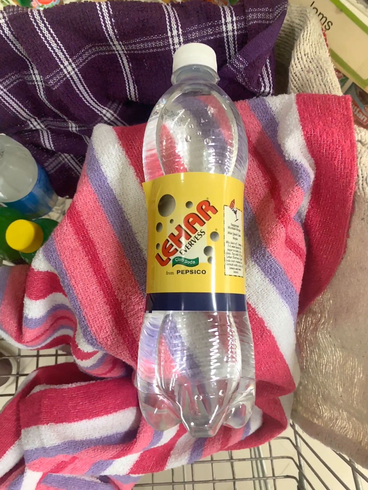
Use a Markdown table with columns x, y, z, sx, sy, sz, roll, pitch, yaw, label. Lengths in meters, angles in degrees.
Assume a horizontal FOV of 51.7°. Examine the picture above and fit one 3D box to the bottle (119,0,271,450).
| x | y | z | sx | sy | sz | roll | pitch | yaw | label |
| --- | --- | --- | --- | --- | --- | --- | --- | --- | --- |
| 0.004 | -0.018 | 0.230 | 0.070 | 0.070 | 0.240 | 0 | 80 | -1 | bottle |
